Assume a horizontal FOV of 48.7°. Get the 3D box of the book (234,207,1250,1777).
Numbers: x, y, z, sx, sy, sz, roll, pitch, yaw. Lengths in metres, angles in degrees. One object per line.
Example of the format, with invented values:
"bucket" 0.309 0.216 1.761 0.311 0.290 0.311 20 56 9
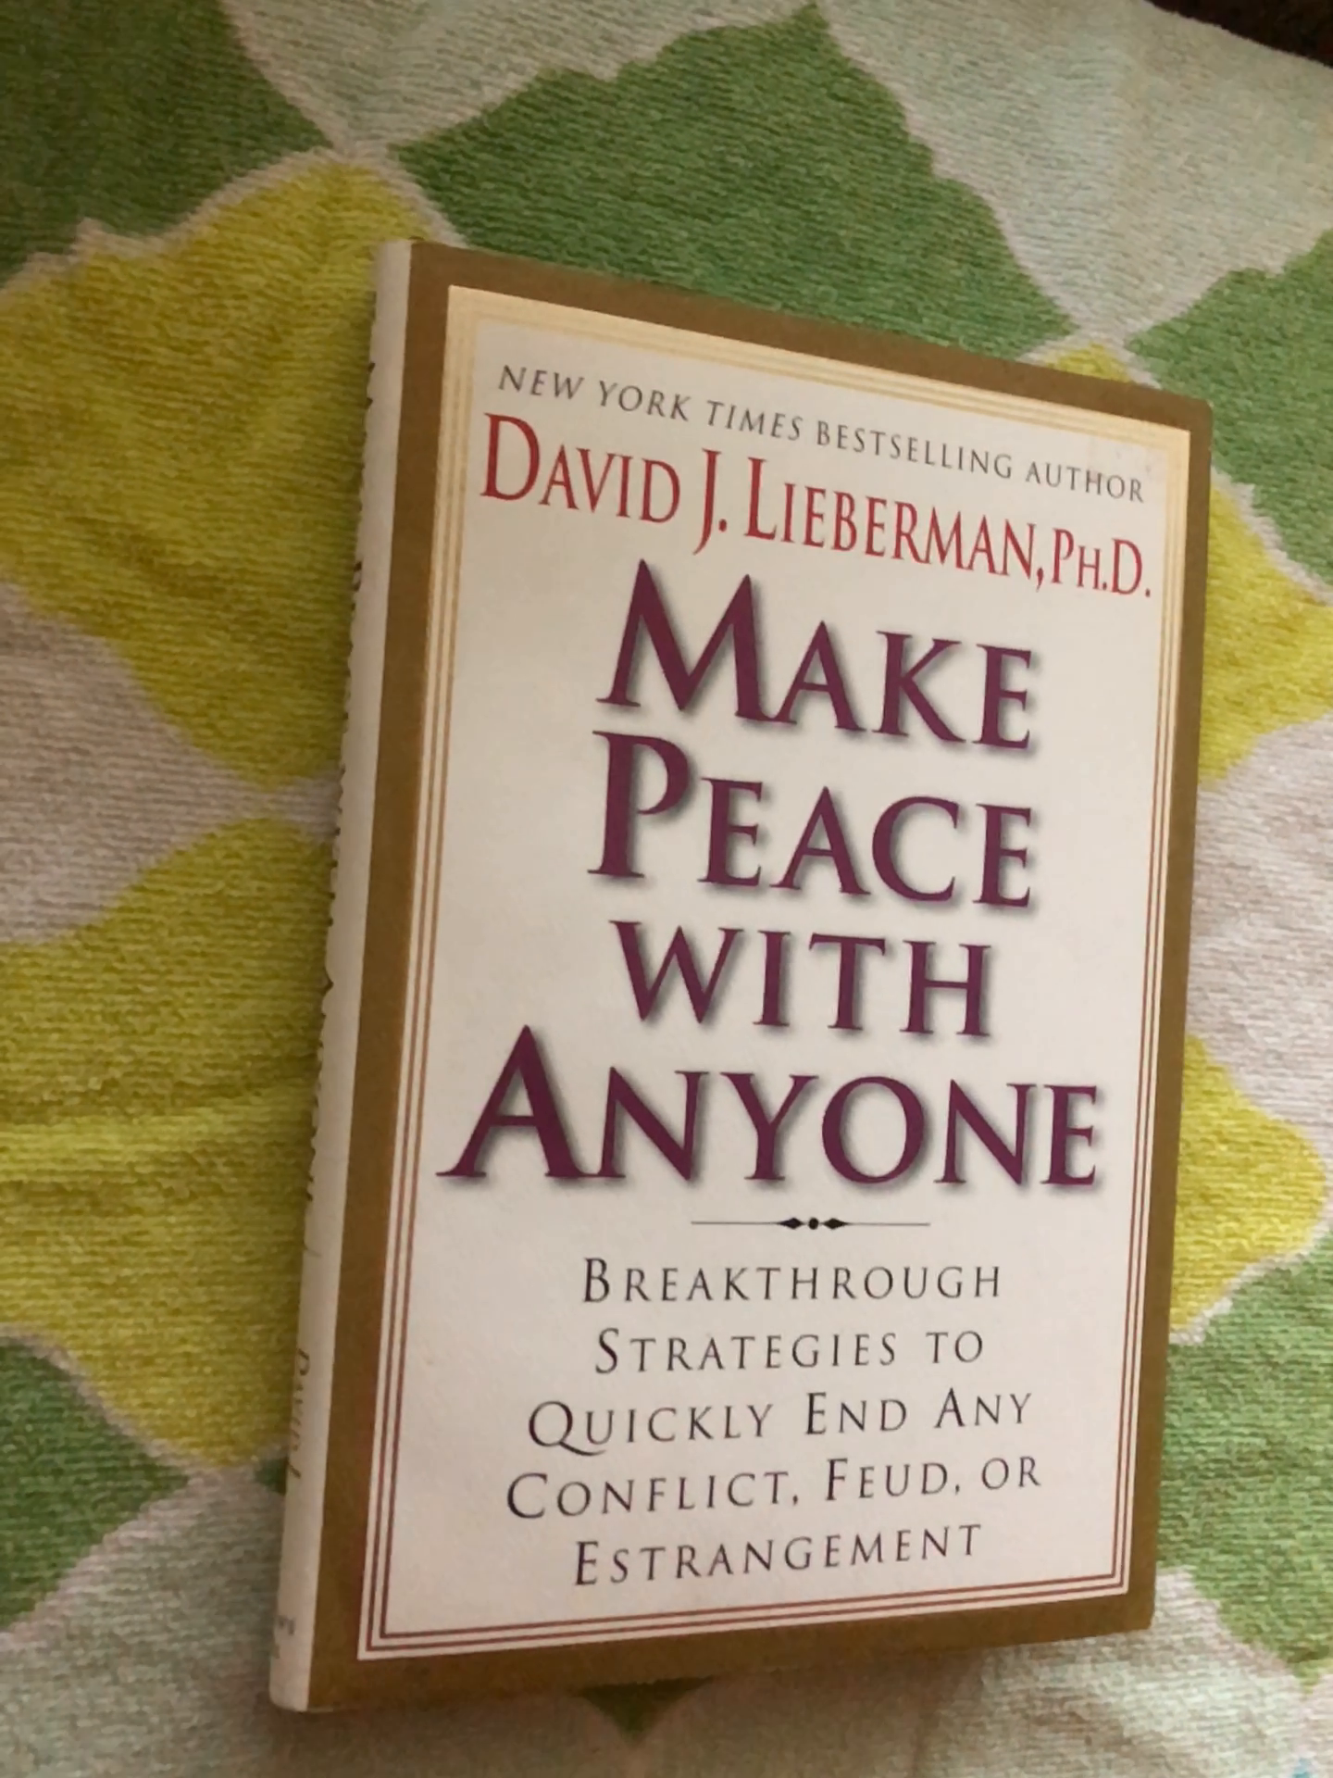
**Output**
"book" 0.017 0.016 0.227 0.145 0.030 0.204 4 86 -18
